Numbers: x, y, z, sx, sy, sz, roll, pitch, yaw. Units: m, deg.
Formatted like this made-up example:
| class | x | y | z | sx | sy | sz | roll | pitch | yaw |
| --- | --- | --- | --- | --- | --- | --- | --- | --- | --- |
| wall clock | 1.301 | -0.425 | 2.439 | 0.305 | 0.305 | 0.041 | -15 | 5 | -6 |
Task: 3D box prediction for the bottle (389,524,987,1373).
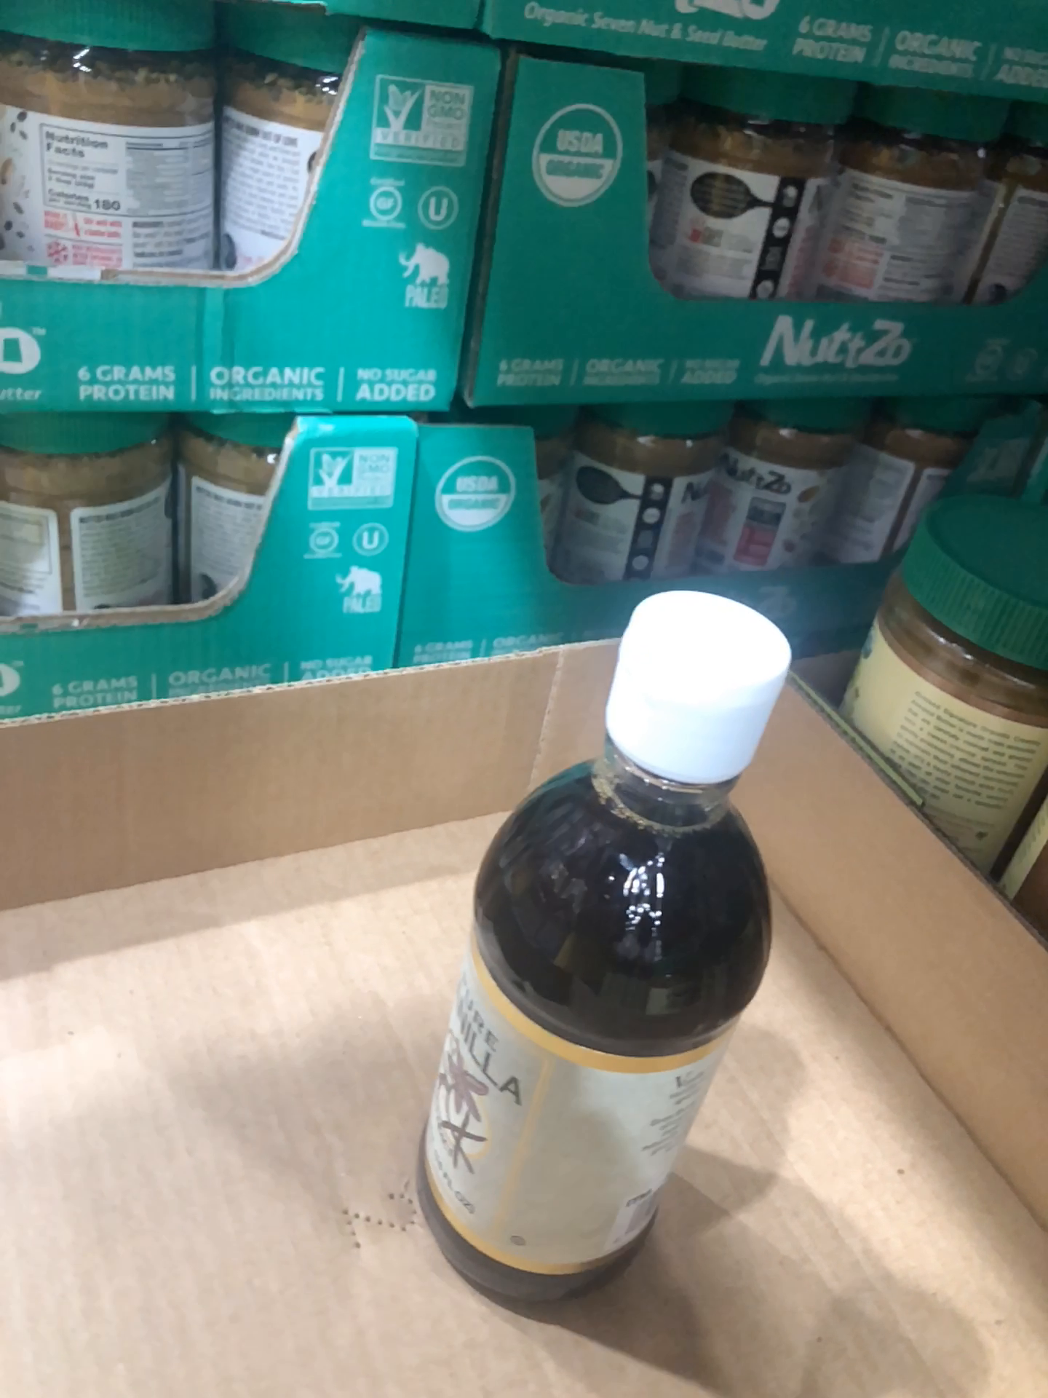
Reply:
| class | x | y | z | sx | sy | sz | roll | pitch | yaw |
| --- | --- | --- | --- | --- | --- | --- | --- | --- | --- |
| bottle | 0.021 | 0.065 | 0.273 | 0.070 | 0.199 | 0.070 | 8 | 35 | -5 |
